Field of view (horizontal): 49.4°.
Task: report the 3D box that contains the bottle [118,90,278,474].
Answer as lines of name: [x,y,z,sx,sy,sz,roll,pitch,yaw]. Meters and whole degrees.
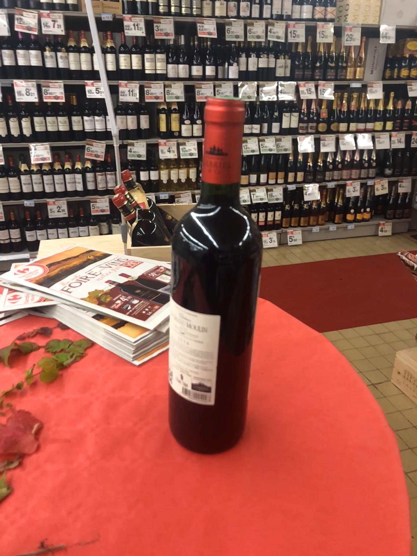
bottle: [-0.008,0.006,0.378,0.080,0.298,0.080,1,24,0]
